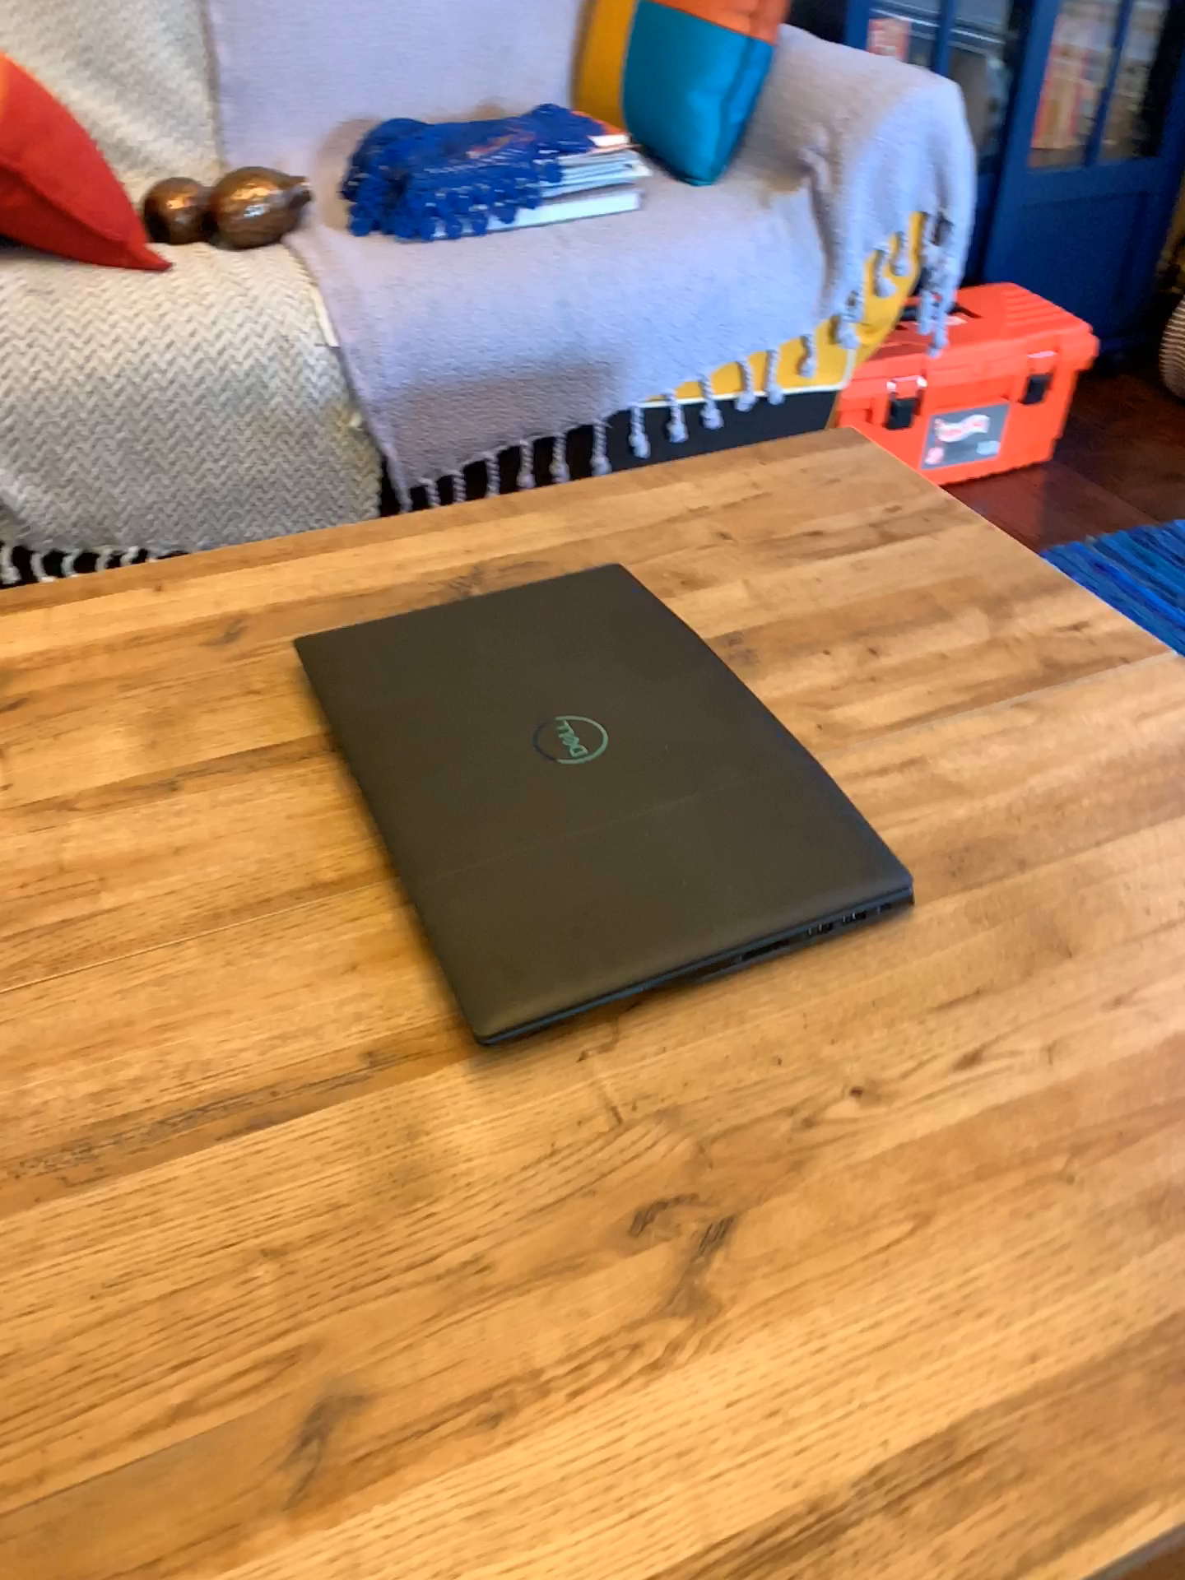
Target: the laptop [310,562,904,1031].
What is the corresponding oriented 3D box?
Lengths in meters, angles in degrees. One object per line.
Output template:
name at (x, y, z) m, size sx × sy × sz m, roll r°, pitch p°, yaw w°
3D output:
laptop at (-0.013, -0.027, 0.700) m, size 0.227 × 0.001 × 0.348 m, roll -16°, pitch 43°, yaw -17°
